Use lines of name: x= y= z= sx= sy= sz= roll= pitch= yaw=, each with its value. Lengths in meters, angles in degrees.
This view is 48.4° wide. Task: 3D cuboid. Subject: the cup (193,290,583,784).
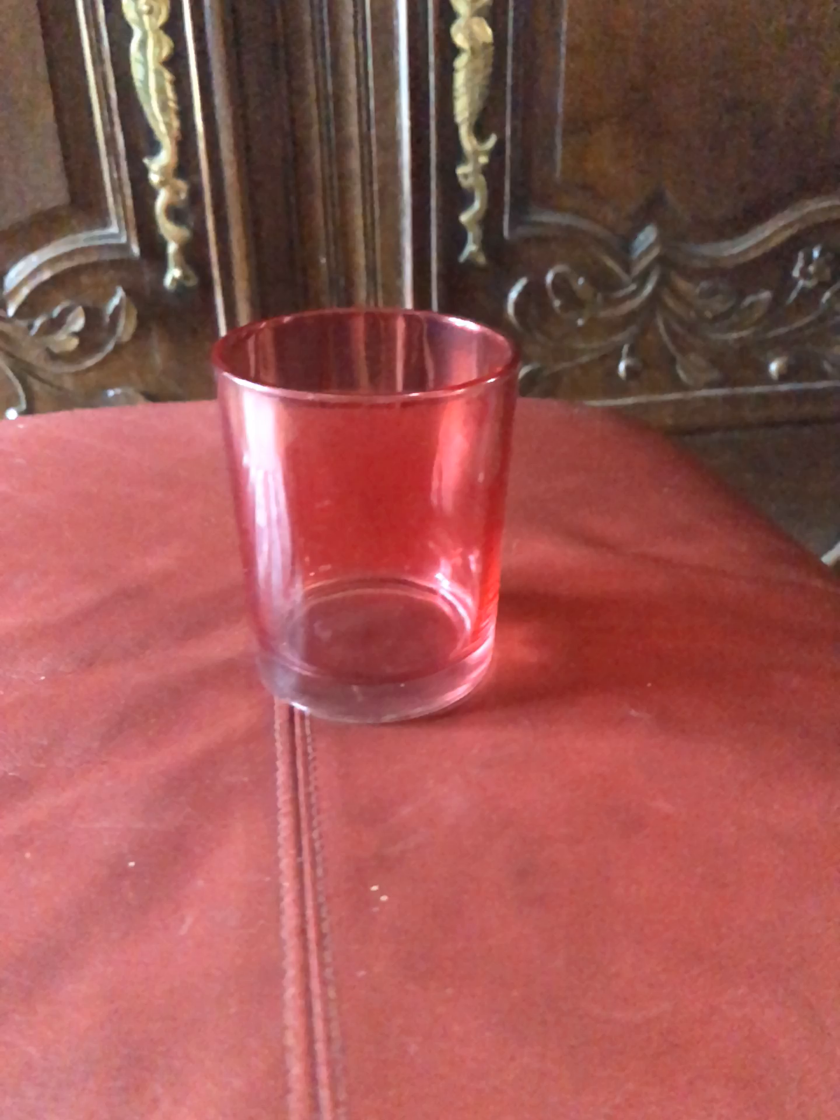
cup: x=-0.010 y=-0.010 z=0.231 sx=0.070 sy=0.089 sz=0.070 roll=-1 pitch=29 yaw=1
